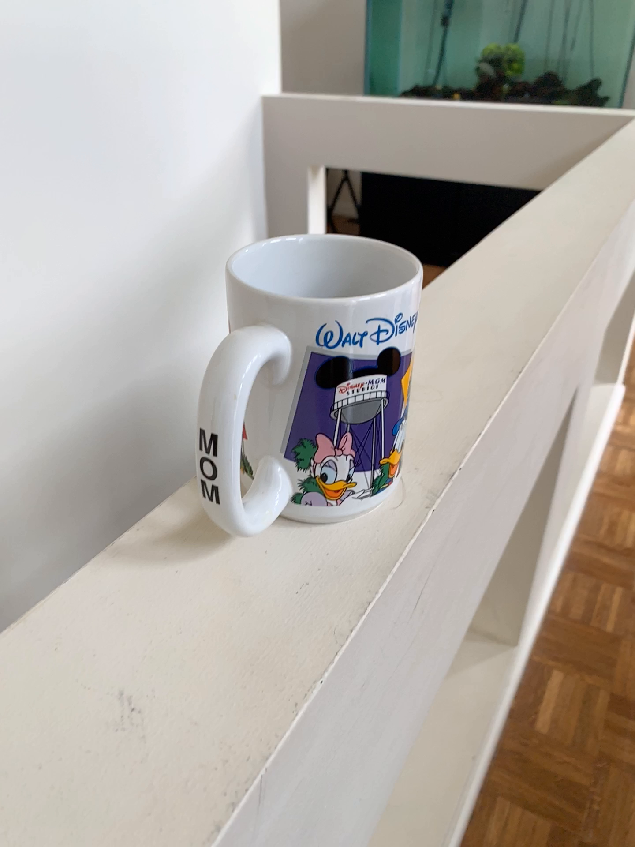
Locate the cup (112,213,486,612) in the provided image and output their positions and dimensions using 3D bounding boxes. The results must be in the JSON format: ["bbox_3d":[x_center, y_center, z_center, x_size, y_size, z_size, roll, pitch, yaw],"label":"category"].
[{"bbox_3d":[0.000,-0.017,0.290,0.080,0.109,0.140,21,37,30],"label":"cup"}]
